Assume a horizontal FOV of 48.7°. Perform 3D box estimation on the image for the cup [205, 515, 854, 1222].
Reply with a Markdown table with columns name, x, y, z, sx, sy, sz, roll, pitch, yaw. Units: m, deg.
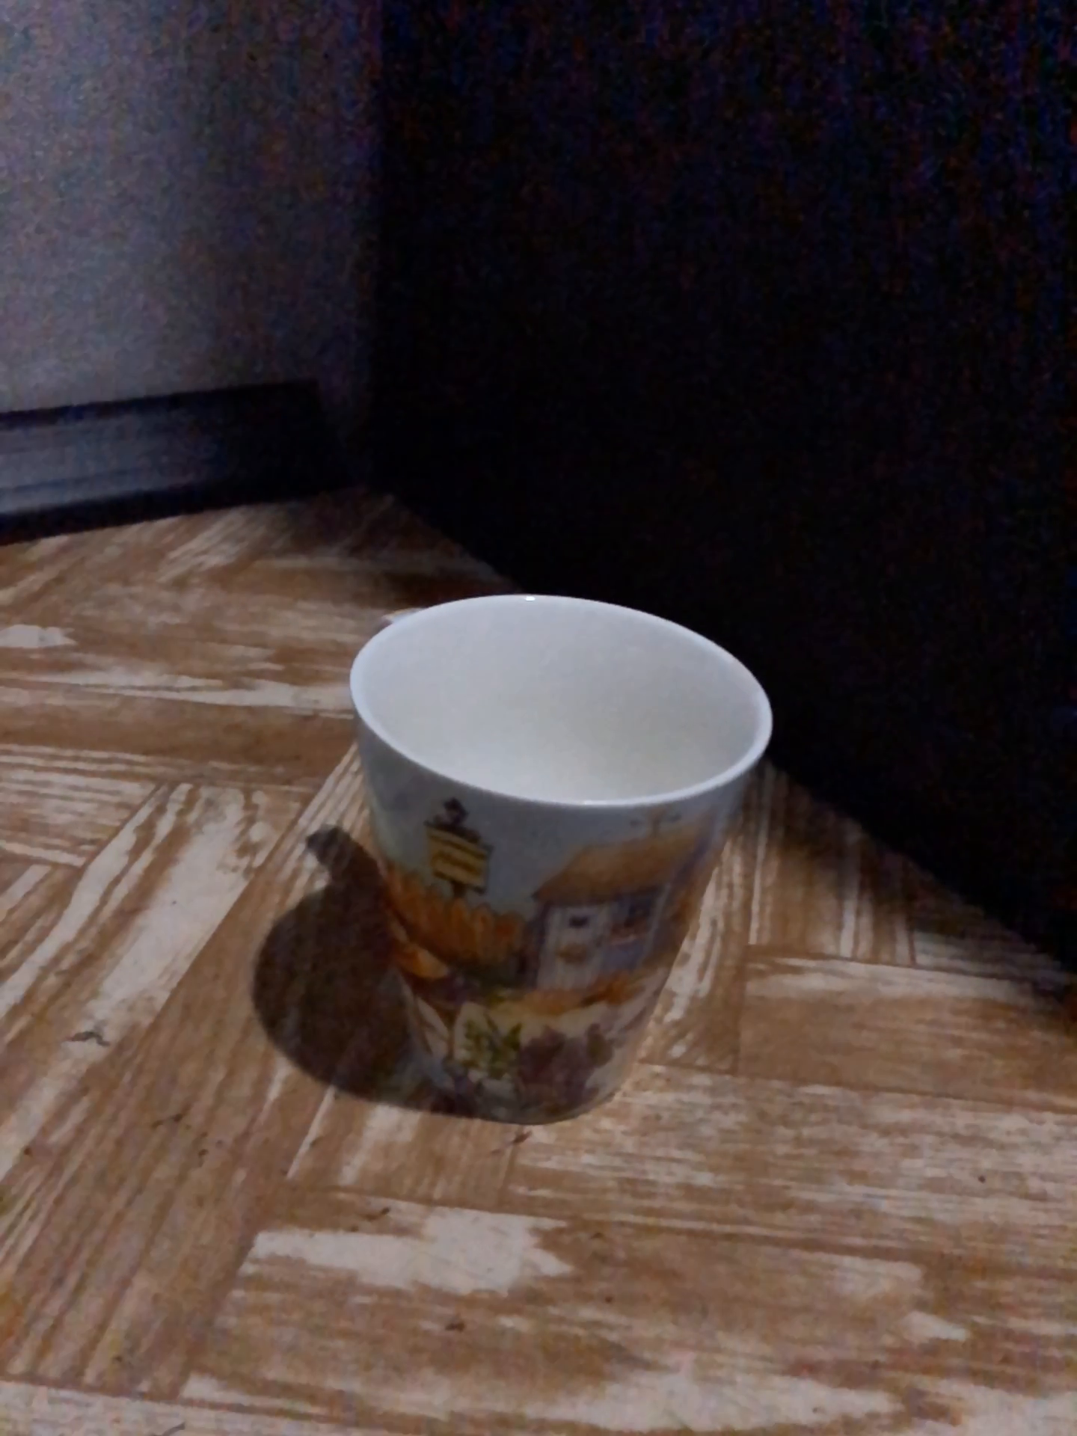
| name | x | y | z | sx | sy | sz | roll | pitch | yaw |
| --- | --- | --- | --- | --- | --- | --- | --- | --- | --- |
| cup | -0.011 | 0.023 | 0.279 | 0.087 | 0.092 | 0.120 | -16 | 37 | -32 |
